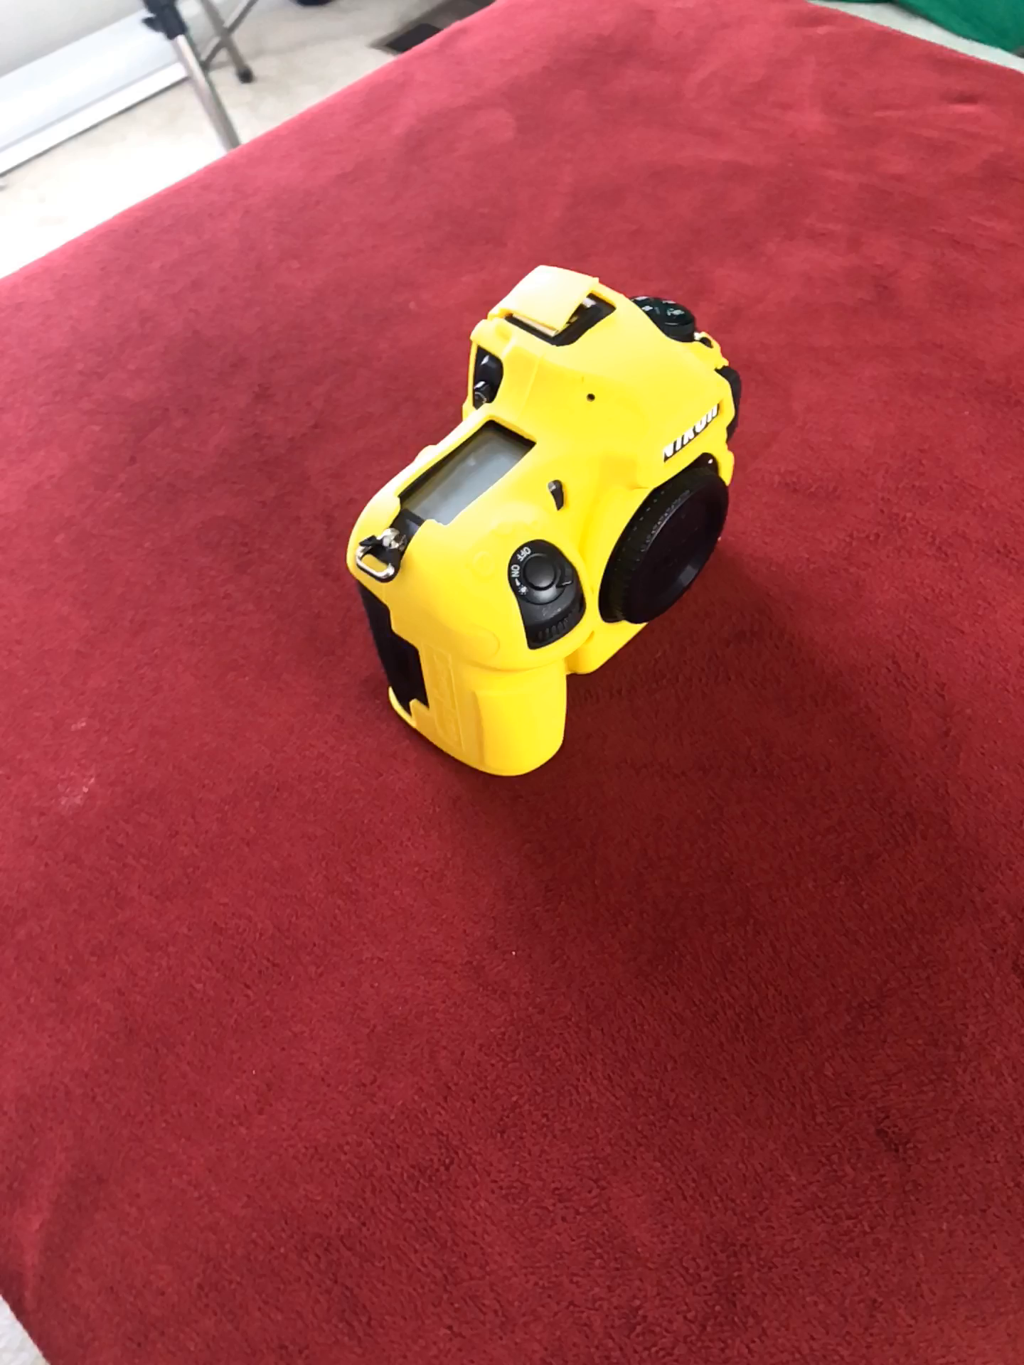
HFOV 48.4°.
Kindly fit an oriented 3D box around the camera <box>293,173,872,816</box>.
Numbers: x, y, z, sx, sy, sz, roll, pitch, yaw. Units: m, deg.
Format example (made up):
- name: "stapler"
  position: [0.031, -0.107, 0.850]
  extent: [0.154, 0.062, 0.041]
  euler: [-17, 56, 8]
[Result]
- name: "camera"
  position: [0.027, -0.062, 0.371]
  extent: [0.082, 0.116, 0.160]
  euler: [34, 63, 24]
